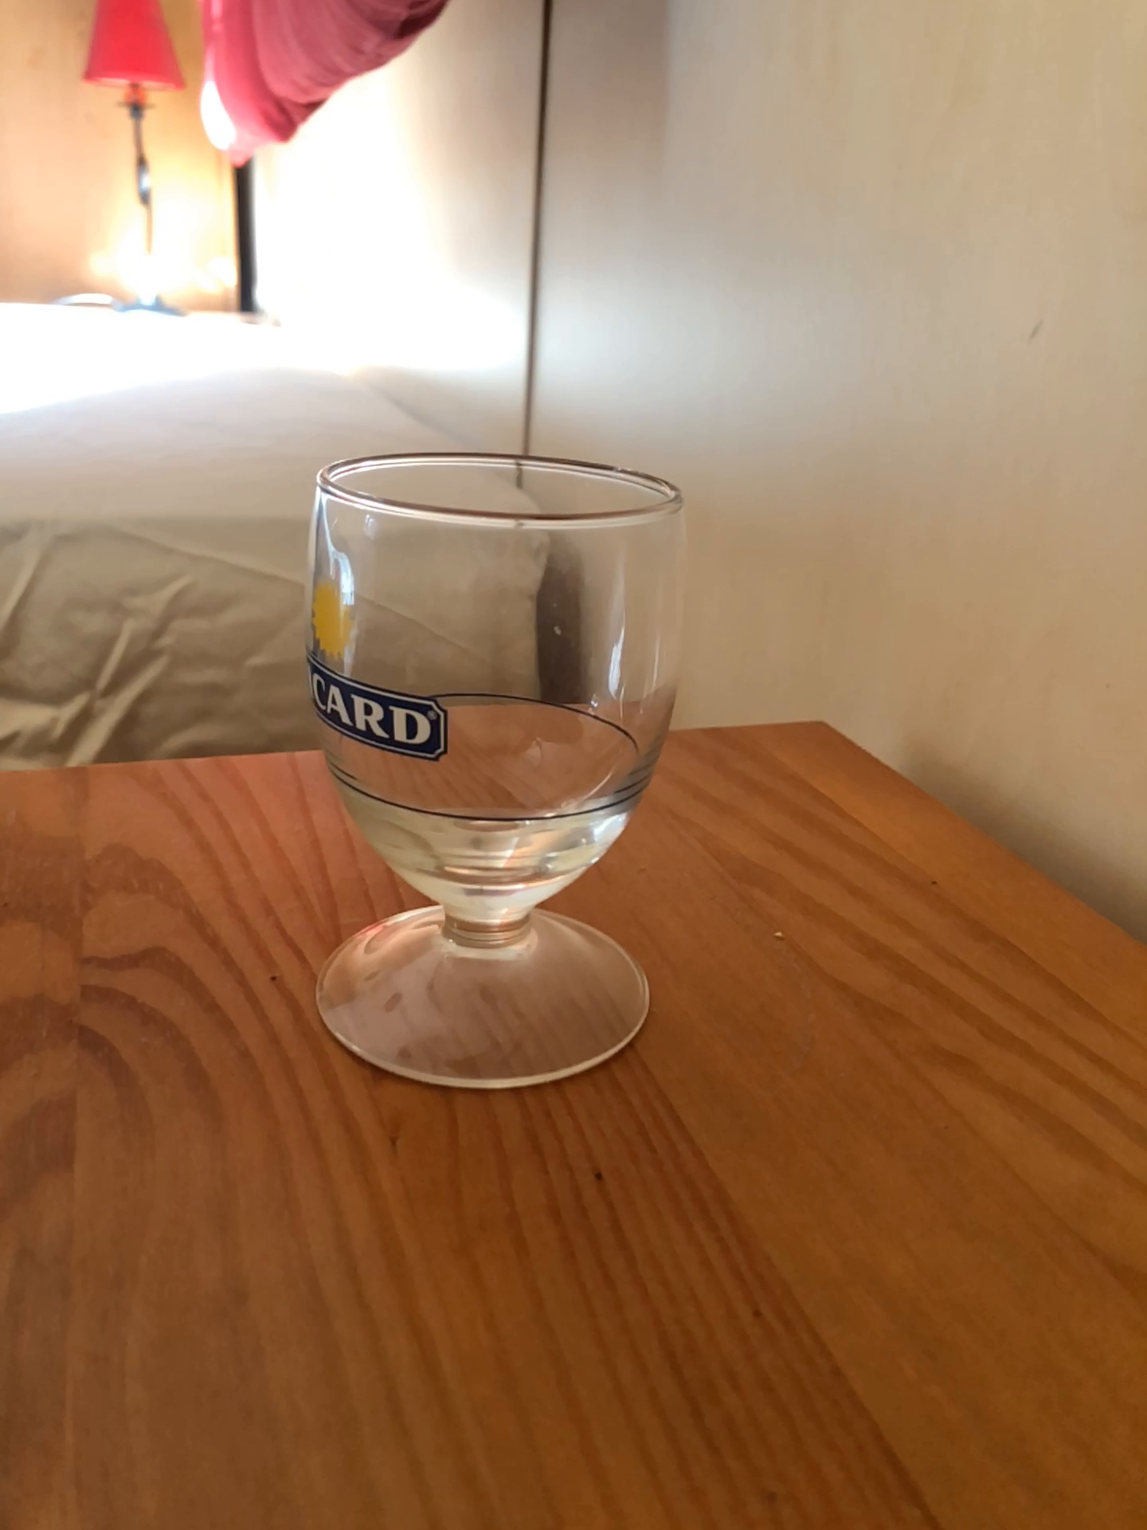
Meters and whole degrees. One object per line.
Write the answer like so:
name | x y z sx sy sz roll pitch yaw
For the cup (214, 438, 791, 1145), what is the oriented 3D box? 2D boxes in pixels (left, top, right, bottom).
cup | -0.016 -0.003 0.231 0.069 0.098 0.069 3 21 -1
